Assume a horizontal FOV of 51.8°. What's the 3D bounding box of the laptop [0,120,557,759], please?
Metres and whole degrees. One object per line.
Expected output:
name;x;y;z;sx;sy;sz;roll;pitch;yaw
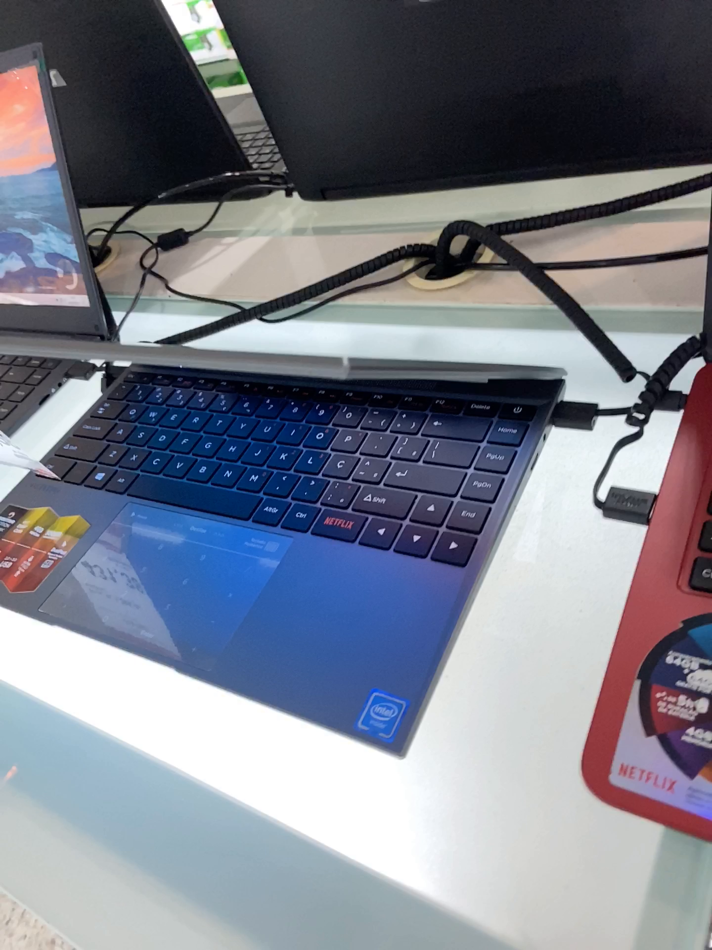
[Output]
laptop;-0.100;-0.039;0.371;0.328;0.139;0.211;8;52;32
